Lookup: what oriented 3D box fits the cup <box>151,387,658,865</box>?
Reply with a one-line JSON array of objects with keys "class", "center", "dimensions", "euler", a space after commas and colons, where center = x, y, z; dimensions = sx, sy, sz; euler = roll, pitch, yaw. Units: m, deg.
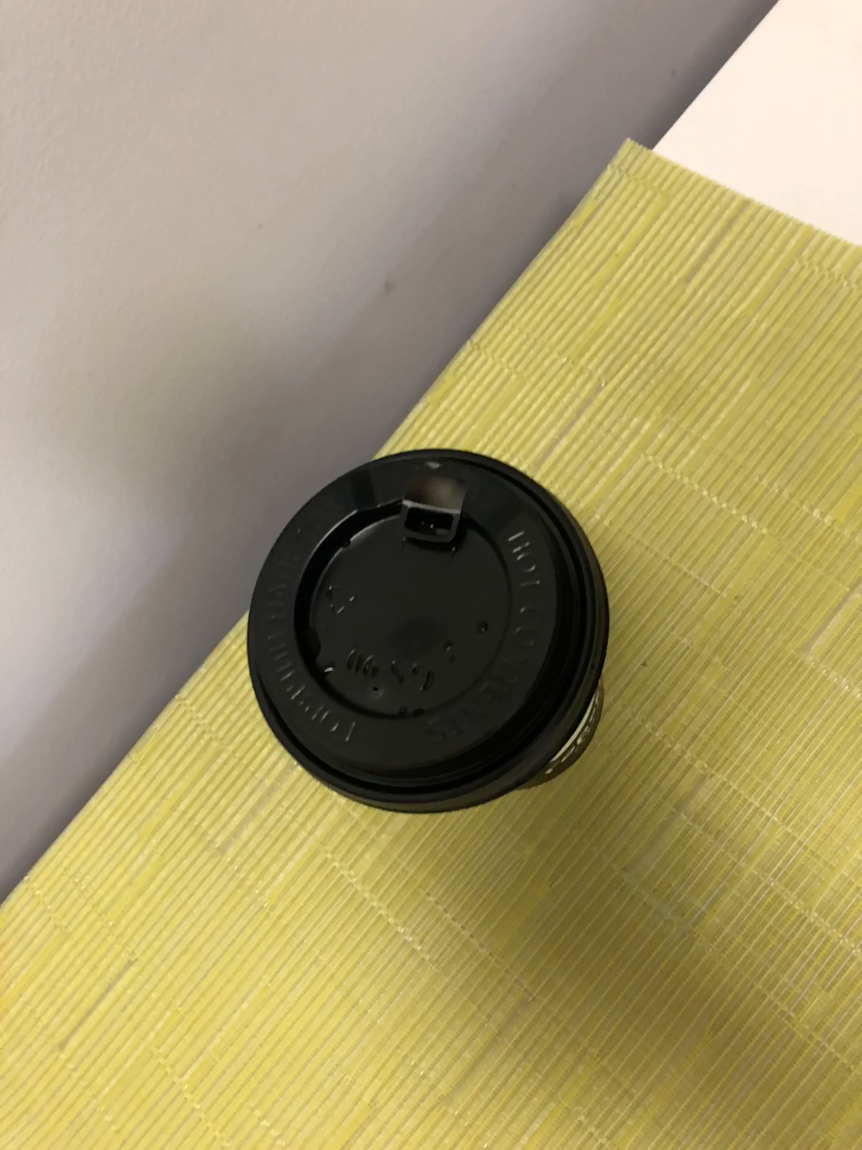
[{"class": "cup", "center": [0.004, 0.023, 0.291], "dimensions": [0.090, 0.120, 0.092], "euler": [-6, 71, 17]}]
